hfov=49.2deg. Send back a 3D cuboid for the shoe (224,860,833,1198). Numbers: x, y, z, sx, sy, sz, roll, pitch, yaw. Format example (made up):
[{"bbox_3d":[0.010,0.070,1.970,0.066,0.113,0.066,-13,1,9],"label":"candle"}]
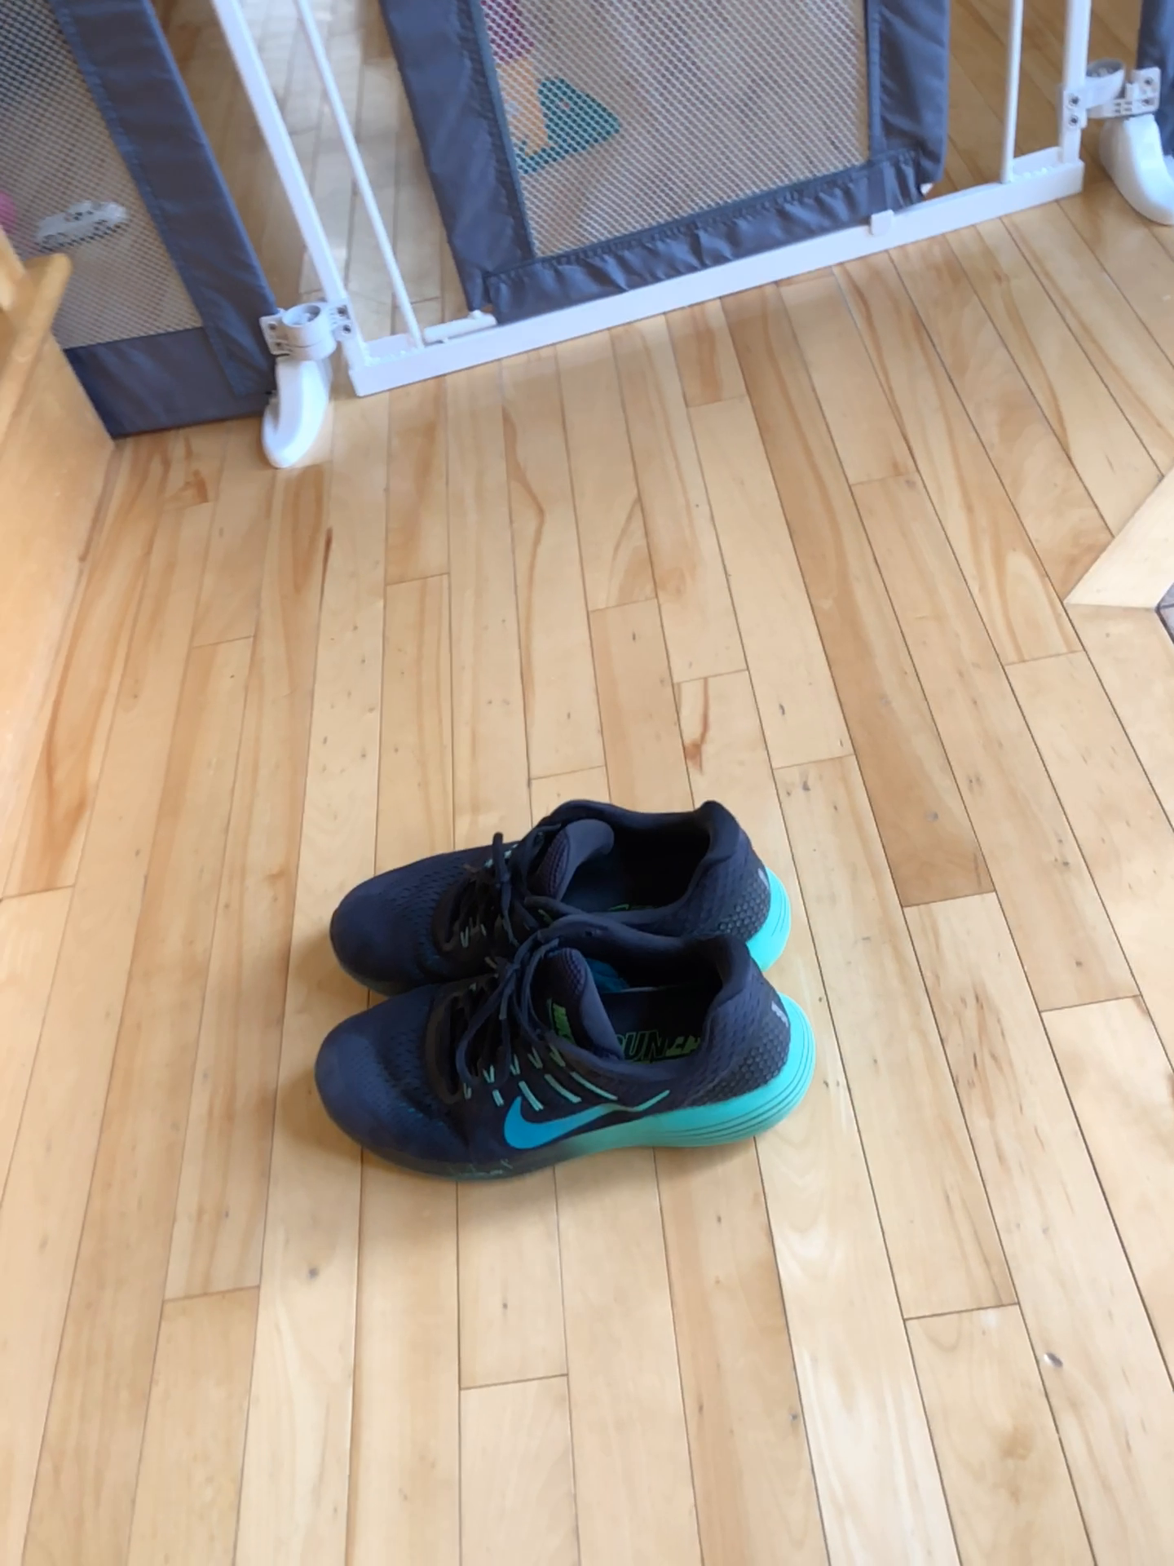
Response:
[{"bbox_3d":[-0.025,0.134,0.681,0.290,0.100,0.120,-6,49,9],"label":"shoe"}]

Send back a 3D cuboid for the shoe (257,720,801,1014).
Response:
[{"bbox_3d":[-0.027,0.053,0.757,0.290,0.100,0.120,-4,49,11],"label":"shoe"}]
